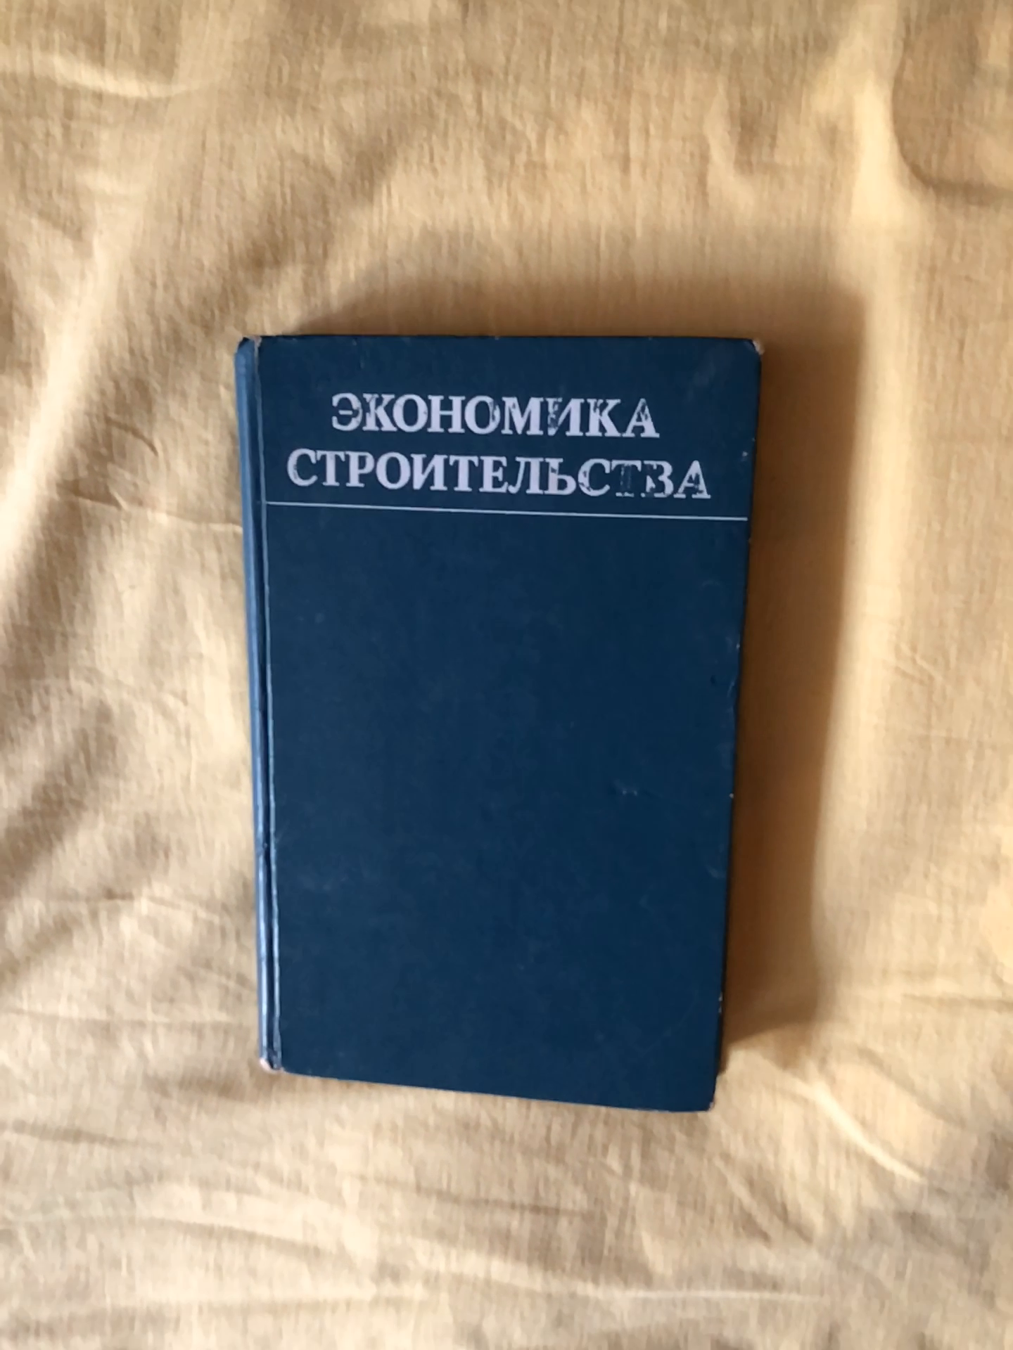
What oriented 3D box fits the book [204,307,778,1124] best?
[{"bbox_3d":[-0.005,0.012,0.290,0.130,0.030,0.200,2,103,7],"label":"book"}]
